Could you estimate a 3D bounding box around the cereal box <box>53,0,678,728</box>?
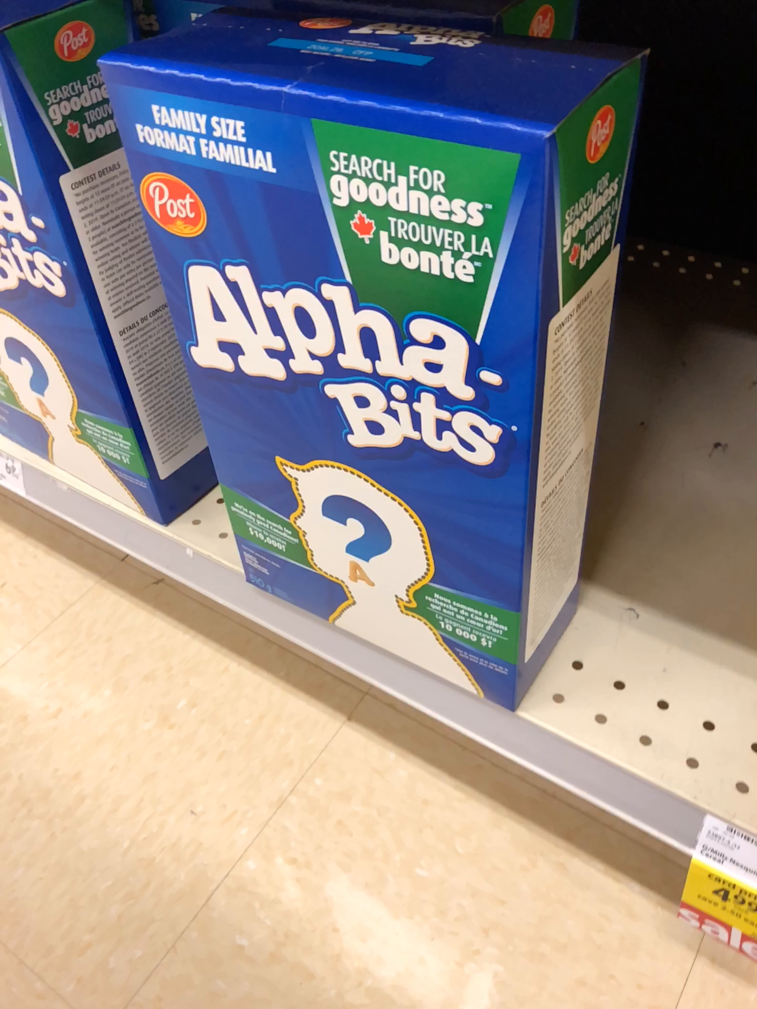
[{"bbox_3d":[-0.003,-0.052,0.394,0.211,0.298,0.080,22,50,26],"label":"cereal box"}]
